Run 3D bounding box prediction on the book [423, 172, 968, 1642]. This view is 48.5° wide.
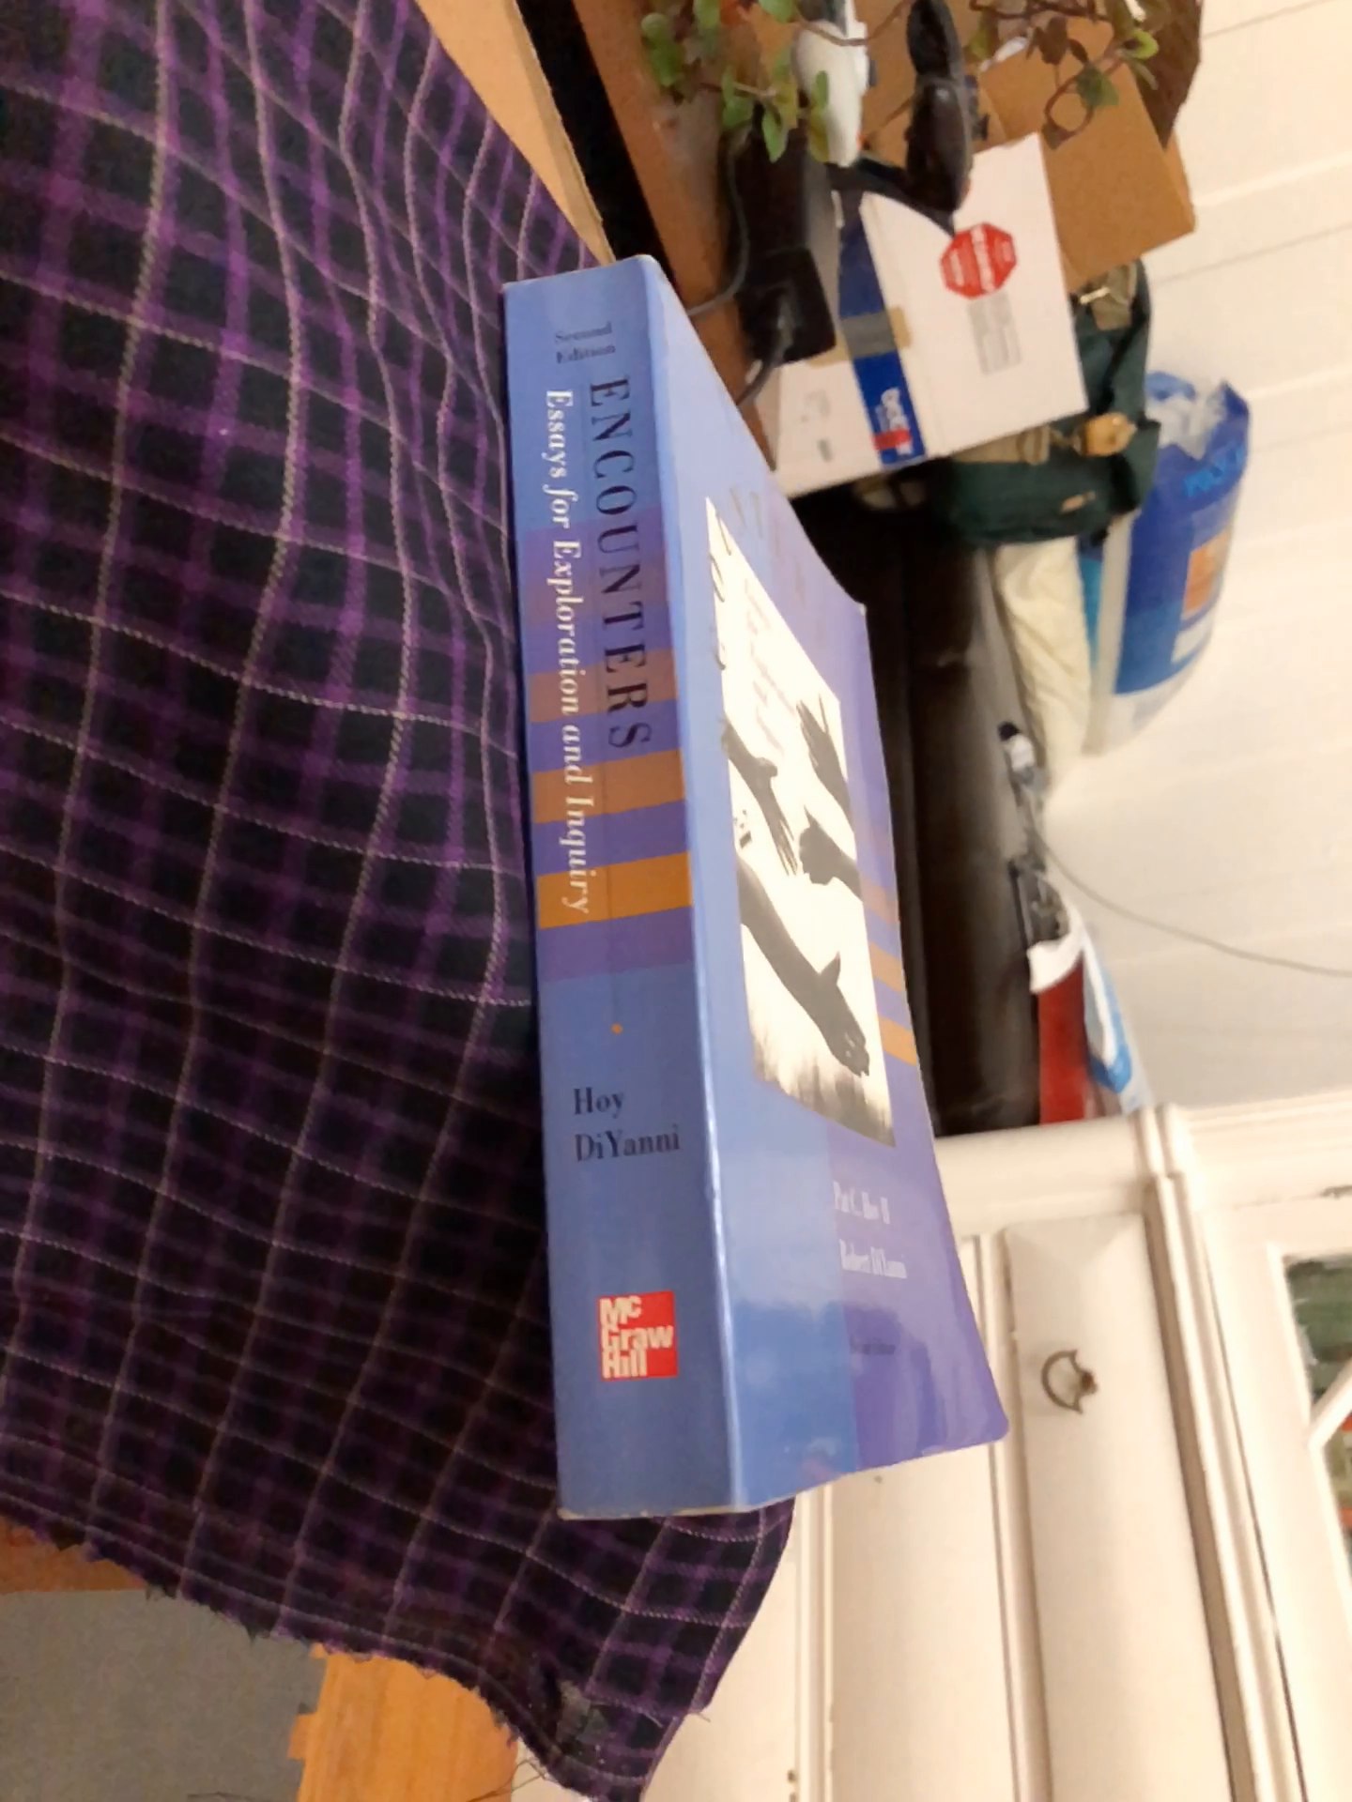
[{"bbox_3d":[0.013,0.010,0.350,0.201,0.040,0.260,37,44,-65],"label":"book"}]
